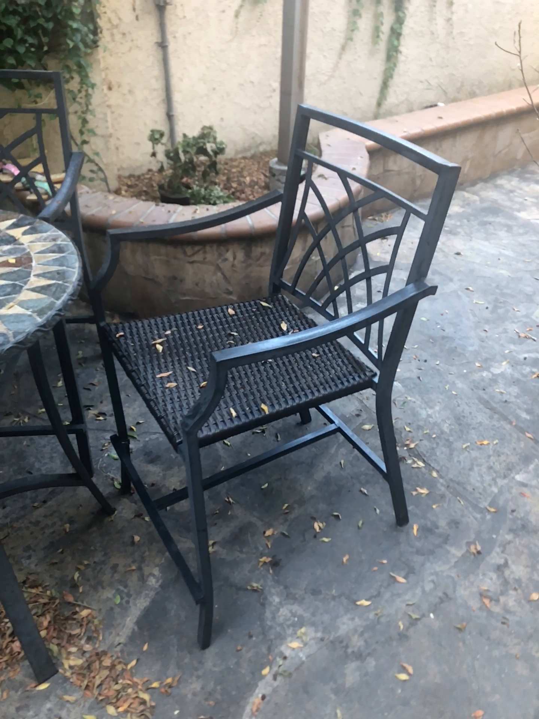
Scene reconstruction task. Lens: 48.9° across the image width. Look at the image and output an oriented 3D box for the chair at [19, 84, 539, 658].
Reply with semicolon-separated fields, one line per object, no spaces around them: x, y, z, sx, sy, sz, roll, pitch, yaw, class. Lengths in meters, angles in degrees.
-0.030;-0.029;1.340;0.693;0.912;0.683;-18;41;-25;chair
